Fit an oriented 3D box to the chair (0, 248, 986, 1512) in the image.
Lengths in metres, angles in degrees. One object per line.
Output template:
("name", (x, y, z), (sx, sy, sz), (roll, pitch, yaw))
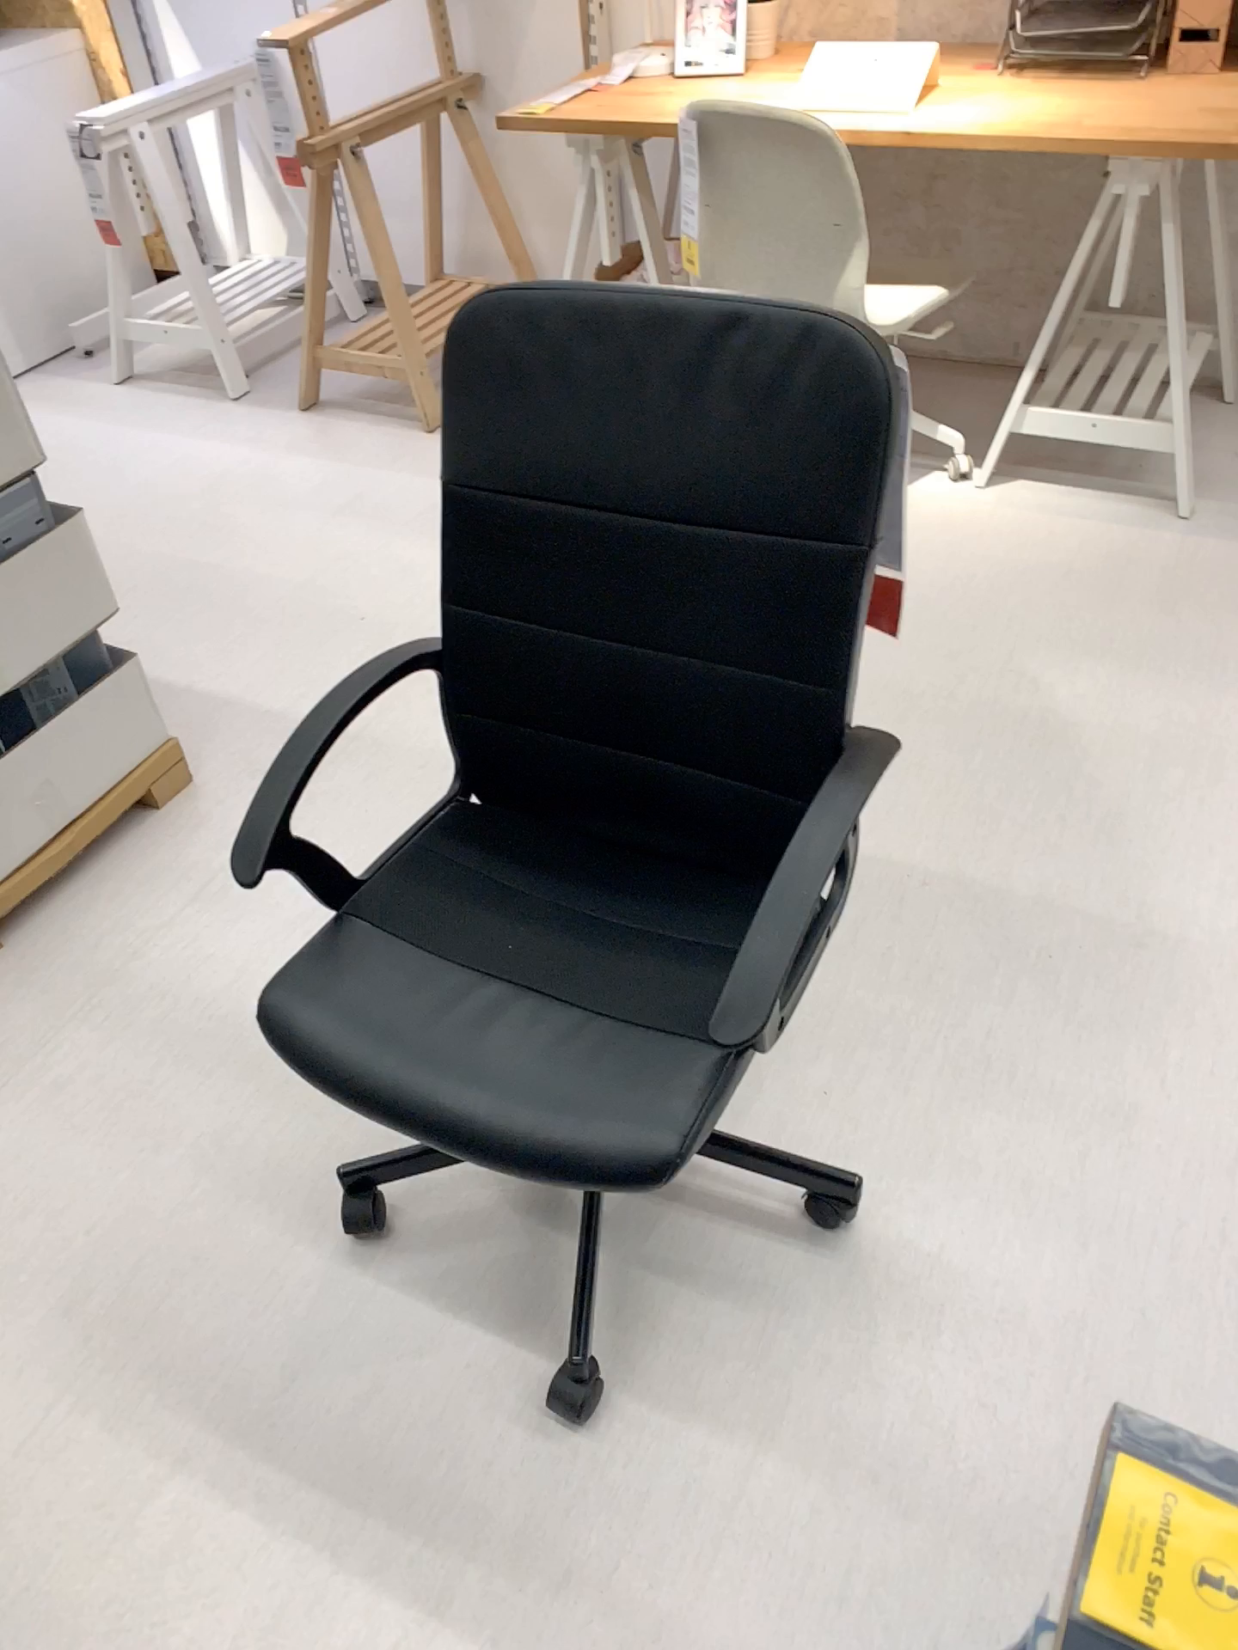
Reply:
("chair", (-0.067, 0.065, 1.235), (0.611, 0.996, 0.582), (13, 44, 21))
